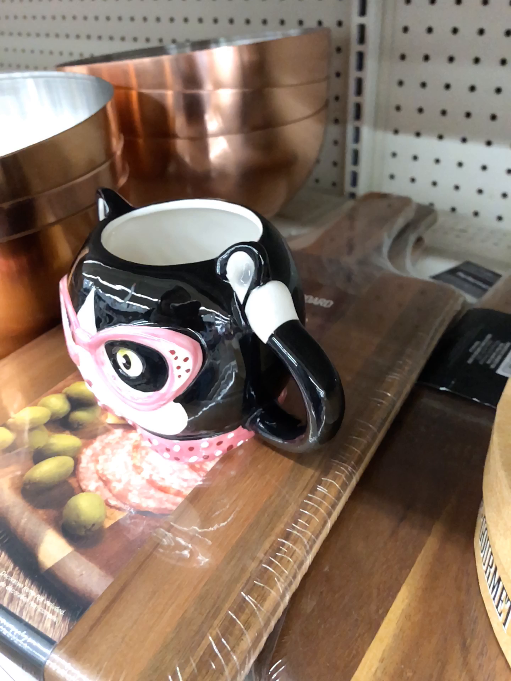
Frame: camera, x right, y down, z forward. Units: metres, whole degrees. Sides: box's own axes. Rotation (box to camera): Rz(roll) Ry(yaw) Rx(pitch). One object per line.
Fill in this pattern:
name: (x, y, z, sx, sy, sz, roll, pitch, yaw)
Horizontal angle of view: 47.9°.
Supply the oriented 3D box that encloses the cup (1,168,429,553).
cup: (-0.022, -0.008, 0.236, 0.080, 0.080, 0.150, -30, 42, -35)
